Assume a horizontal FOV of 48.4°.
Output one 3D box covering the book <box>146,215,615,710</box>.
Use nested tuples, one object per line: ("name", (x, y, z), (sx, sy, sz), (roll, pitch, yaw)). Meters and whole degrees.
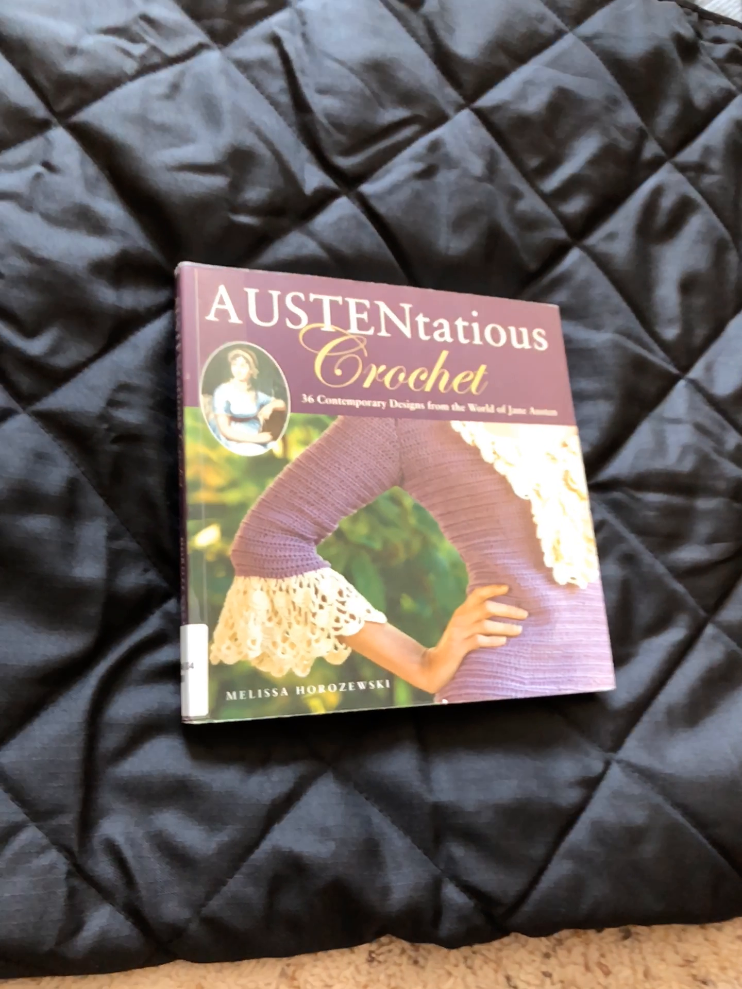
("book", (0.004, -0.020, 0.412), (0.221, 0.020, 0.230), (0, 74, -20))
